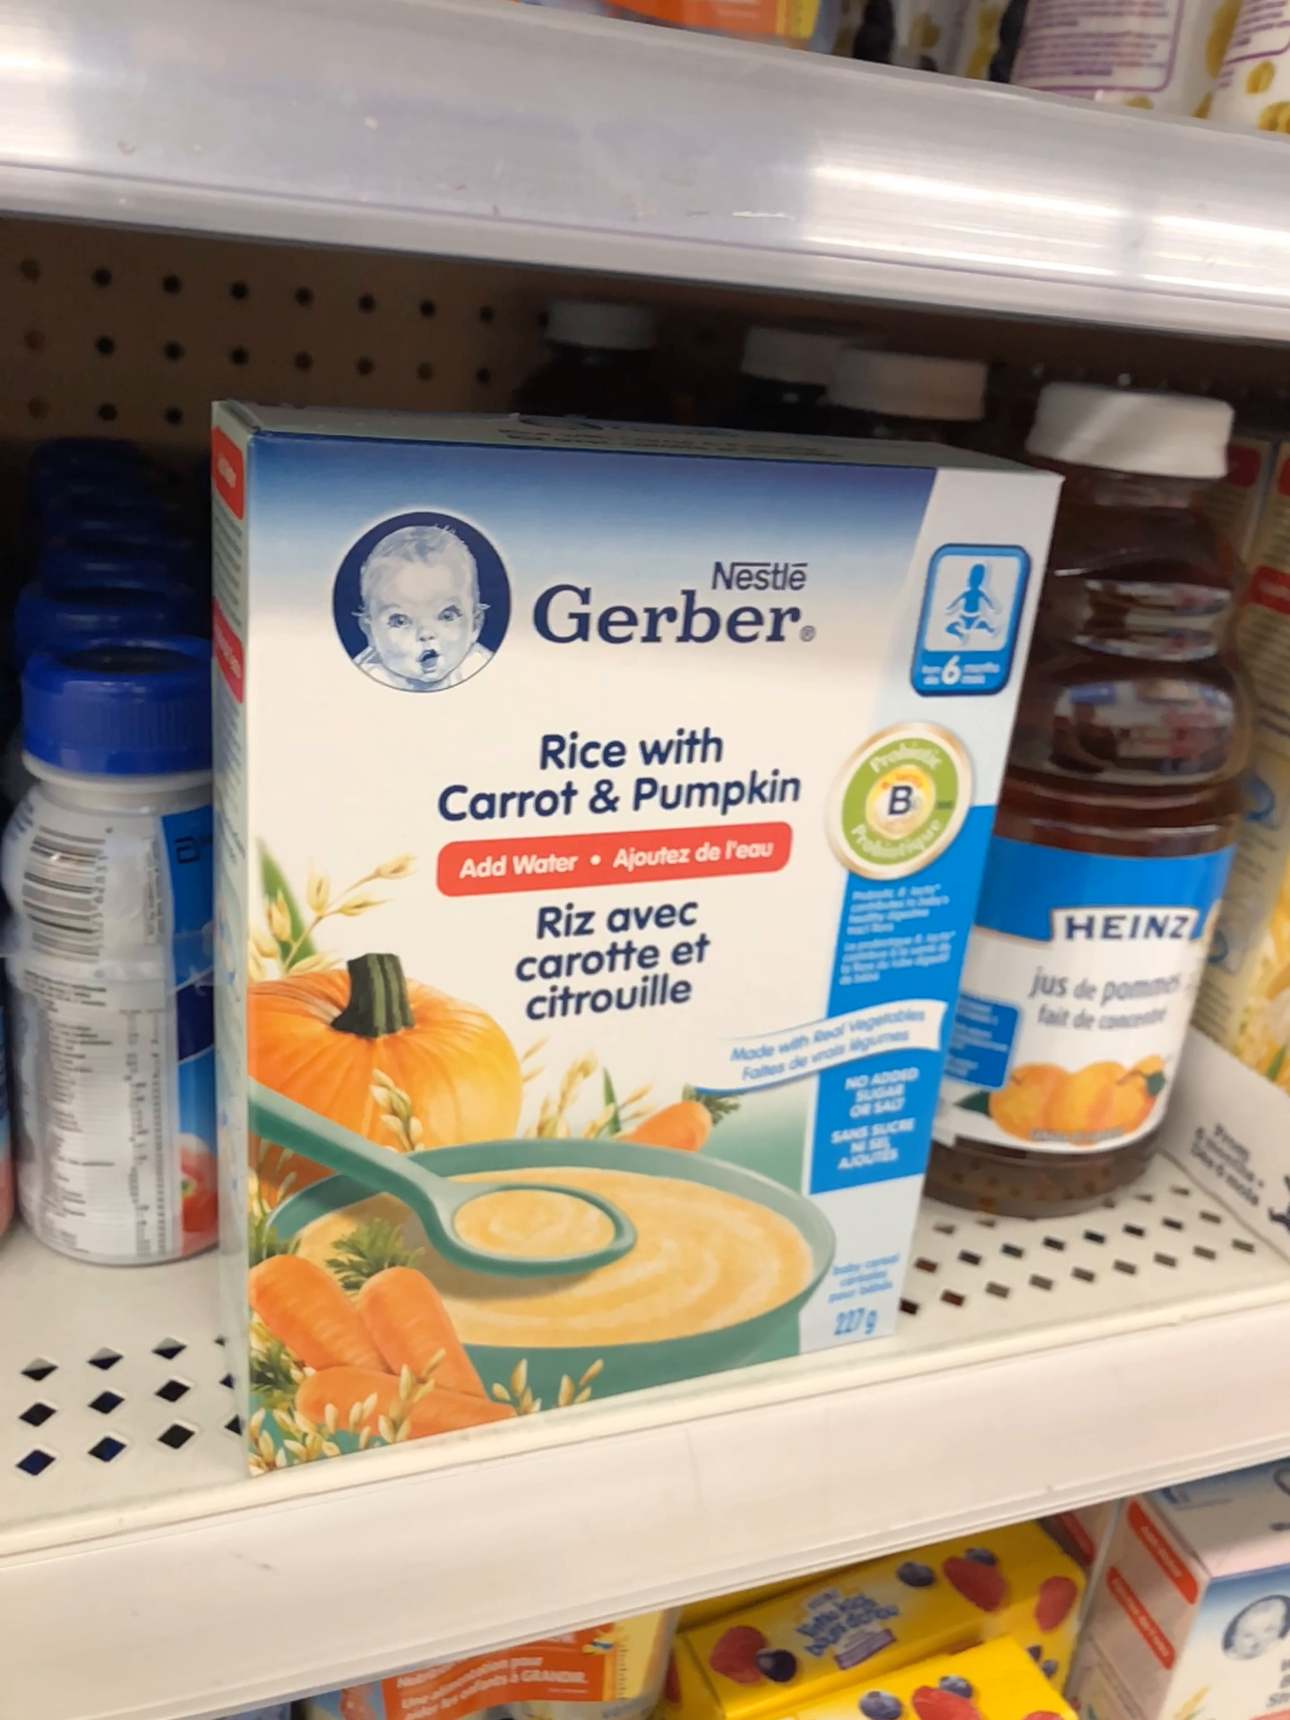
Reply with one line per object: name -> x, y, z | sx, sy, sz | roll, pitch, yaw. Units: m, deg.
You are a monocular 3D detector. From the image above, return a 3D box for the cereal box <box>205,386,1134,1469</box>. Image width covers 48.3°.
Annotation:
cereal box -> -0.003, 0.012, 0.275 | 0.150, 0.179, 0.050 | -3, 24, -24
